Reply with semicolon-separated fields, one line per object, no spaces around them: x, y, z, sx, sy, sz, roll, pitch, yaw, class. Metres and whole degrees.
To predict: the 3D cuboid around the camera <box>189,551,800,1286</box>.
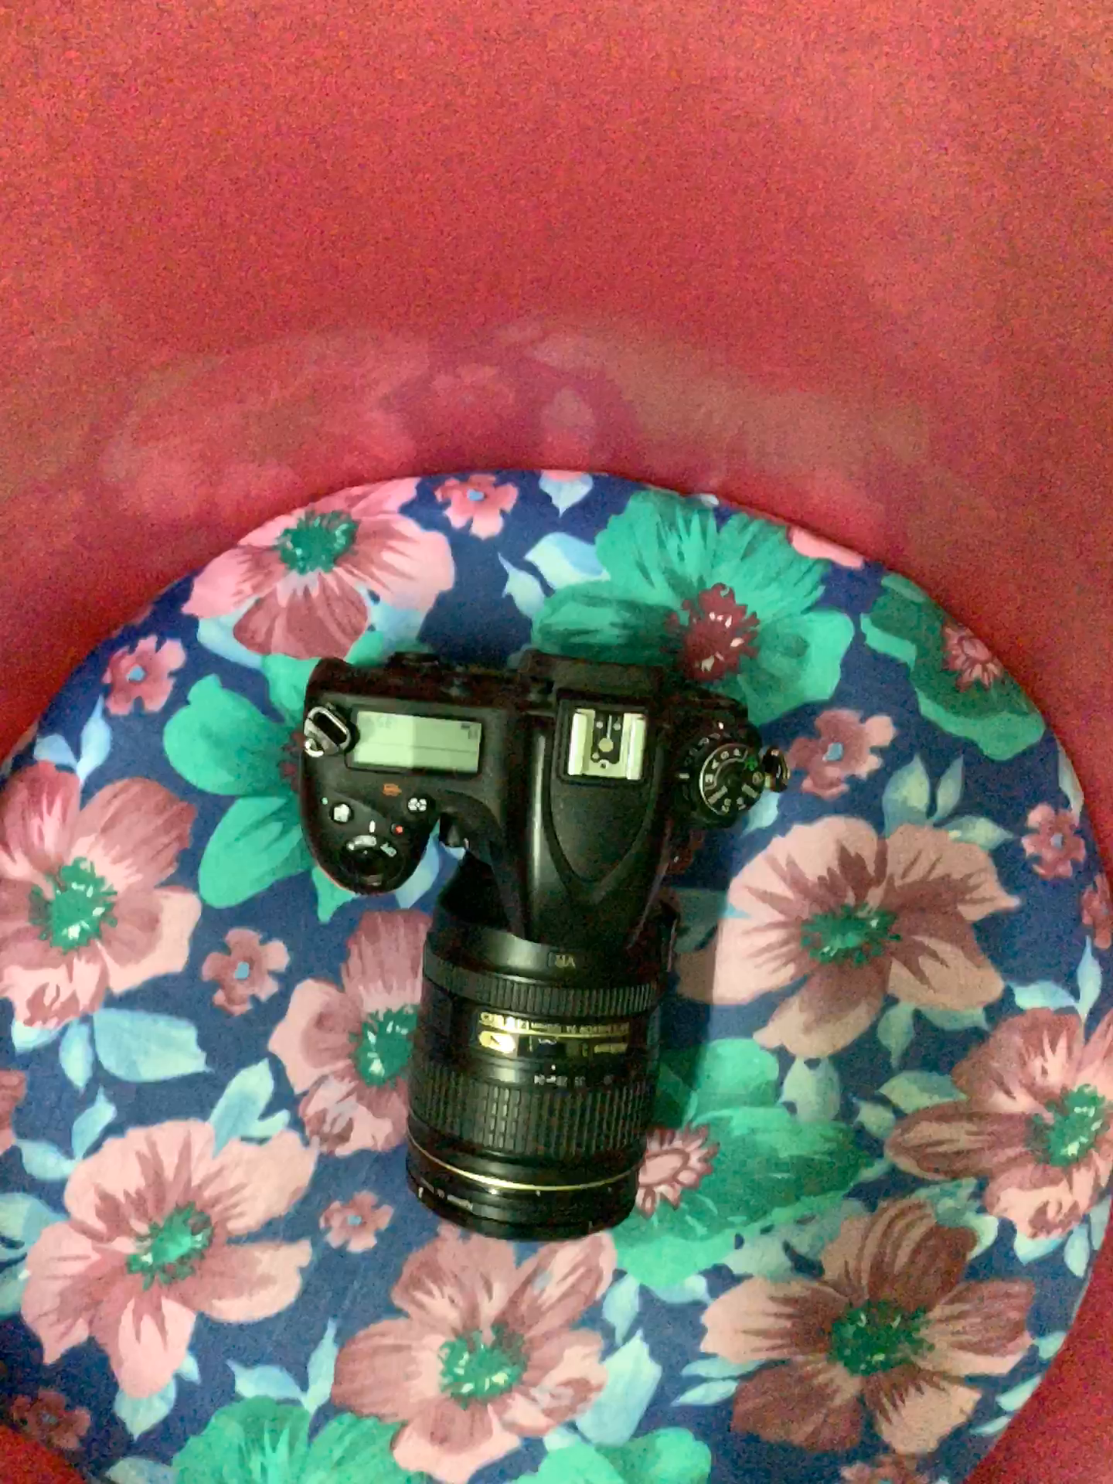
-0.019;0.046;0.352;0.140;0.111;0.180;6;93;-3;camera
